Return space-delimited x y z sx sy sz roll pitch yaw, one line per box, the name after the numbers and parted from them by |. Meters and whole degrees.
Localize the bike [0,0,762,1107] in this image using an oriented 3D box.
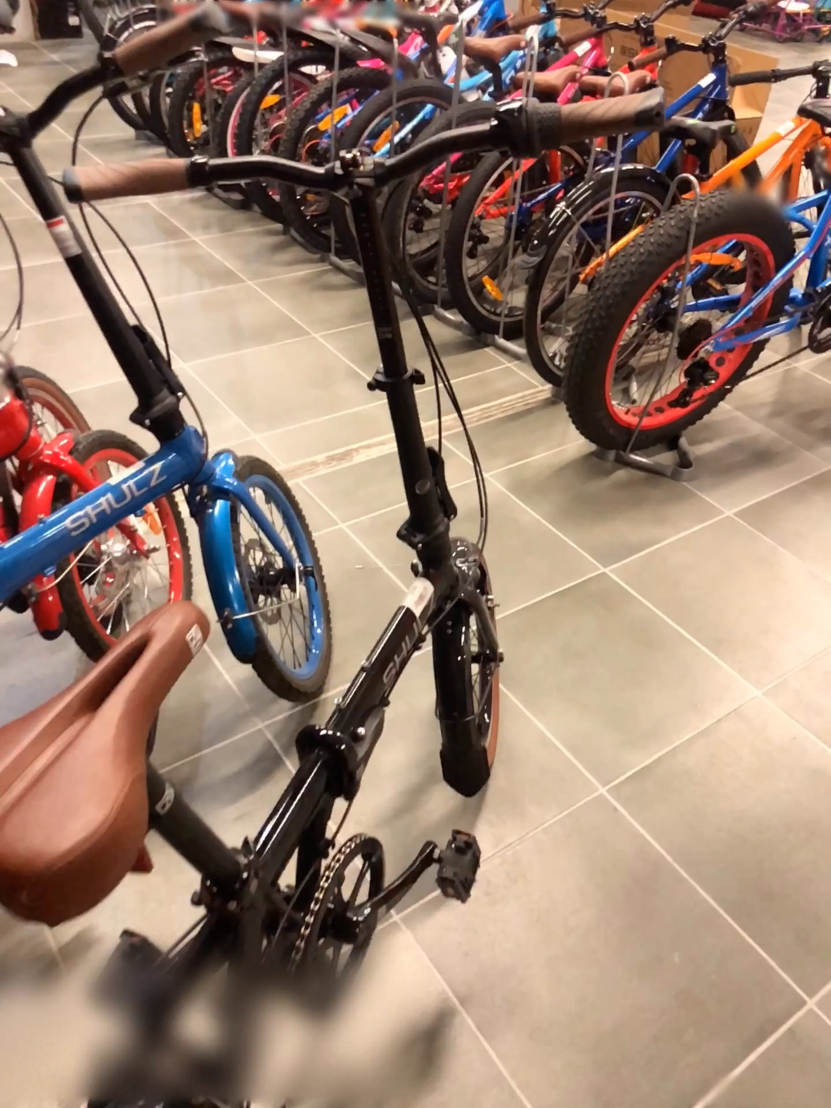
-0.137 0.128 0.956 0.564 1.057 1.280 16 40 13 | bike

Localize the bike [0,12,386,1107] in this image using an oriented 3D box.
-0.674 -0.026 1.137 0.567 1.029 1.379 24 40 21 | bike
